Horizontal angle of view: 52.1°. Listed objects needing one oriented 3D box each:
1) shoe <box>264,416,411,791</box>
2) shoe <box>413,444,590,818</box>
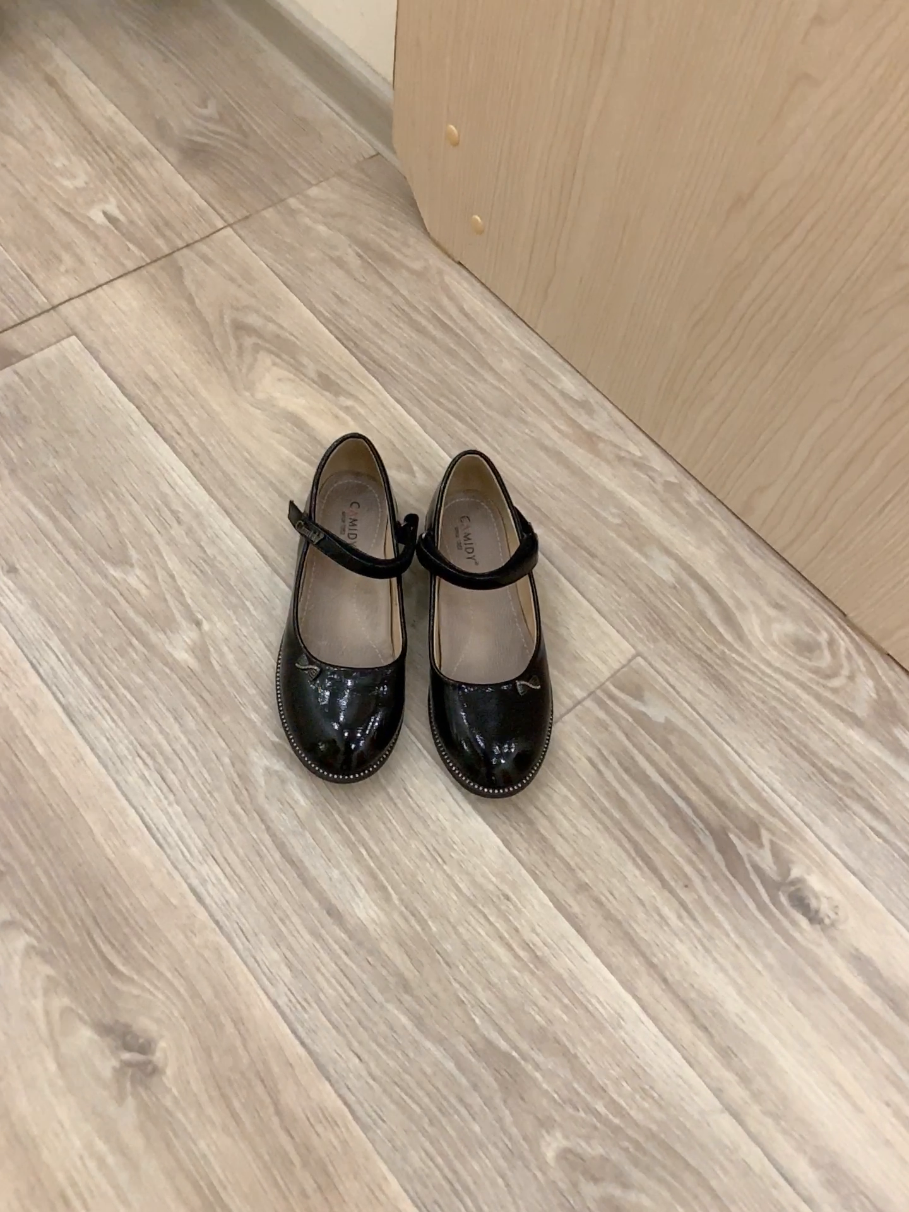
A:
[{"bbox_3d":[-0.080,-0.003,0.671,0.090,0.100,0.250,1,63,-6],"label":"shoe"},{"bbox_3d":[0.025,0.015,0.676,0.090,0.100,0.250,-2,64,-7],"label":"shoe"}]
